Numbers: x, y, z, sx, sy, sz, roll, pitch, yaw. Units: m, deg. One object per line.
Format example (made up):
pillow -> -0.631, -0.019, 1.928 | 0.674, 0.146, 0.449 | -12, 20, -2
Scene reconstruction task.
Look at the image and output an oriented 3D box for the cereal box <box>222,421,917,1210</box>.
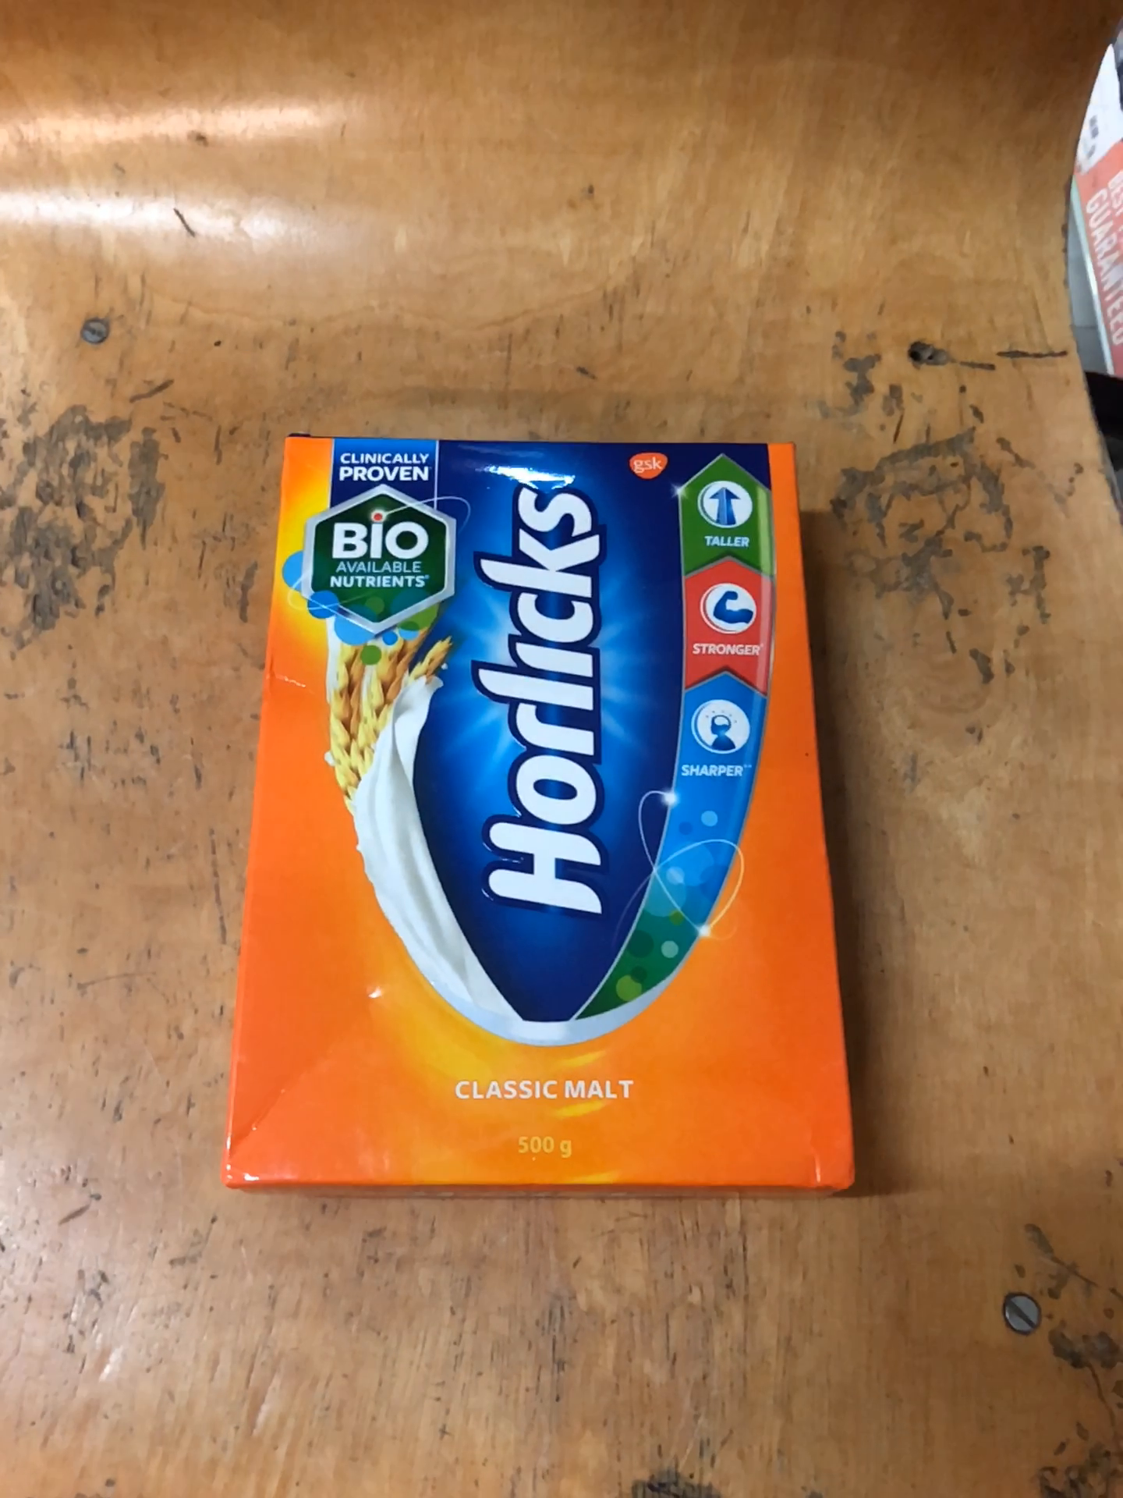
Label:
cereal box -> 0.001, 0.019, 0.316 | 0.140, 0.080, 0.180 | 1, 72, -1
